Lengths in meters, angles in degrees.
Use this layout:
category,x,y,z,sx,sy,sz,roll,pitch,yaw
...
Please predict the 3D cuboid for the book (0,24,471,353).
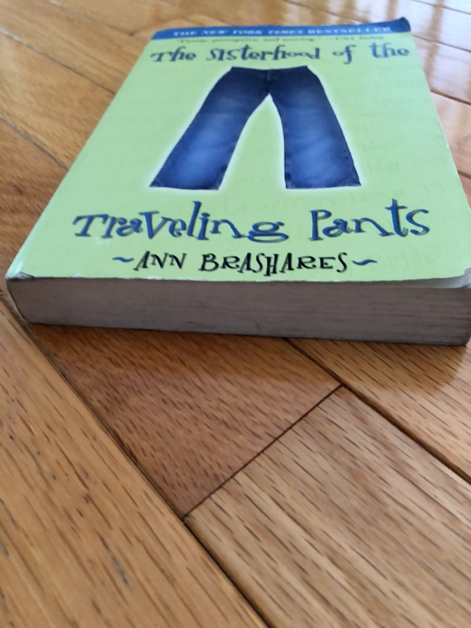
category,x,y,z,sx,sy,sz,roll,pitch,yaw
book,0.008,-0.075,0.224,0.141,0.025,0.210,3,45,7
